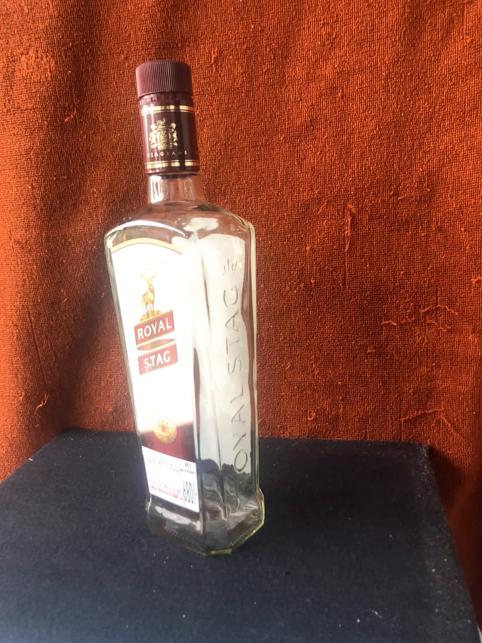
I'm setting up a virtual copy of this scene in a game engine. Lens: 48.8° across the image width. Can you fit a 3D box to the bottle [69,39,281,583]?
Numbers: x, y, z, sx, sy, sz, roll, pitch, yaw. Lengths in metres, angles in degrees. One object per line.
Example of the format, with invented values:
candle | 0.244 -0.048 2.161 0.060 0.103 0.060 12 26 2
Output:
bottle | -0.033 0.001 0.323 0.090 0.289 0.060 7 17 33
